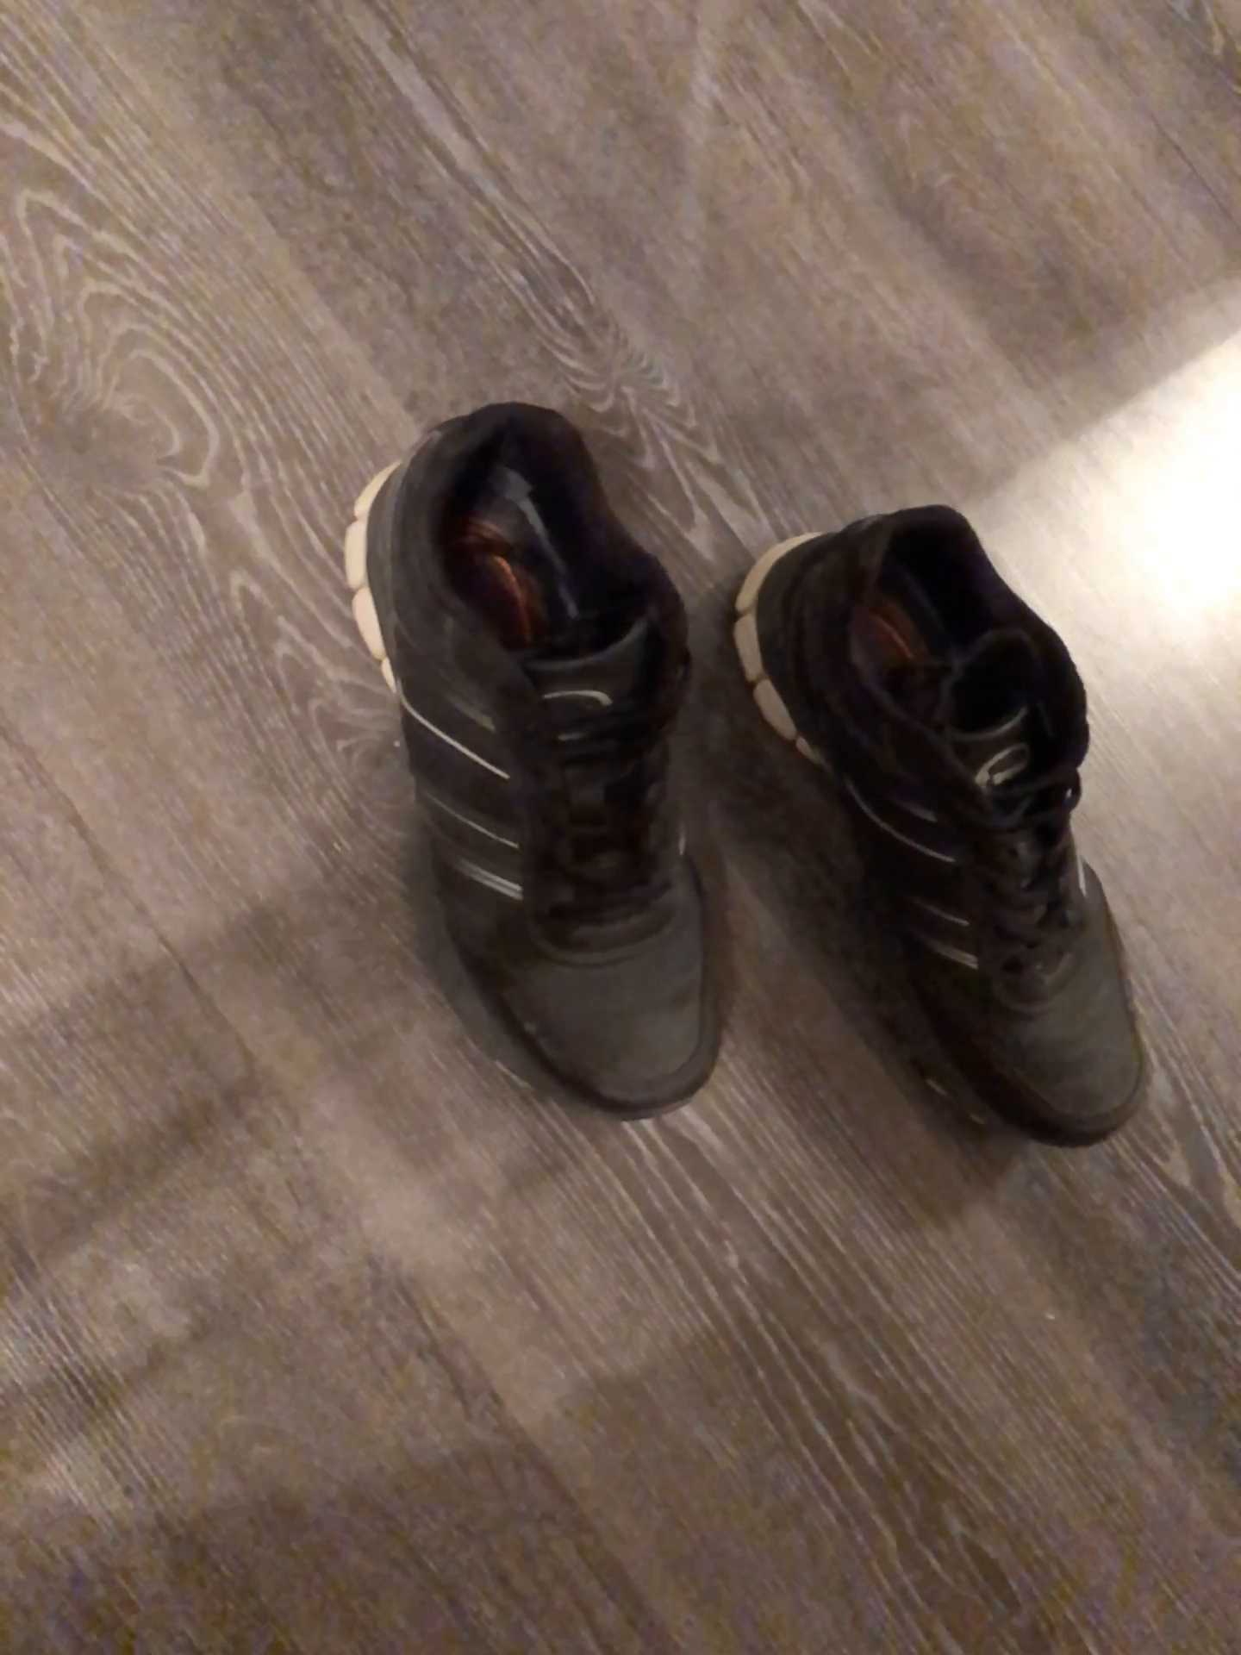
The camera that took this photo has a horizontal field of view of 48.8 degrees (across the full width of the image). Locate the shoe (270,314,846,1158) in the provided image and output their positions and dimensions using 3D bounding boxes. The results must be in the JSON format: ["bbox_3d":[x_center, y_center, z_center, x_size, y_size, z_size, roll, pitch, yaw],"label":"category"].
[{"bbox_3d":[-0.030,-0.028,0.462,0.100,0.090,0.250,-18,83,-18],"label":"shoe"}]

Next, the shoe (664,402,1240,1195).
[{"bbox_3d":[0.134,-0.008,0.521,0.110,0.100,0.260,-24,85,-19],"label":"shoe"}]
